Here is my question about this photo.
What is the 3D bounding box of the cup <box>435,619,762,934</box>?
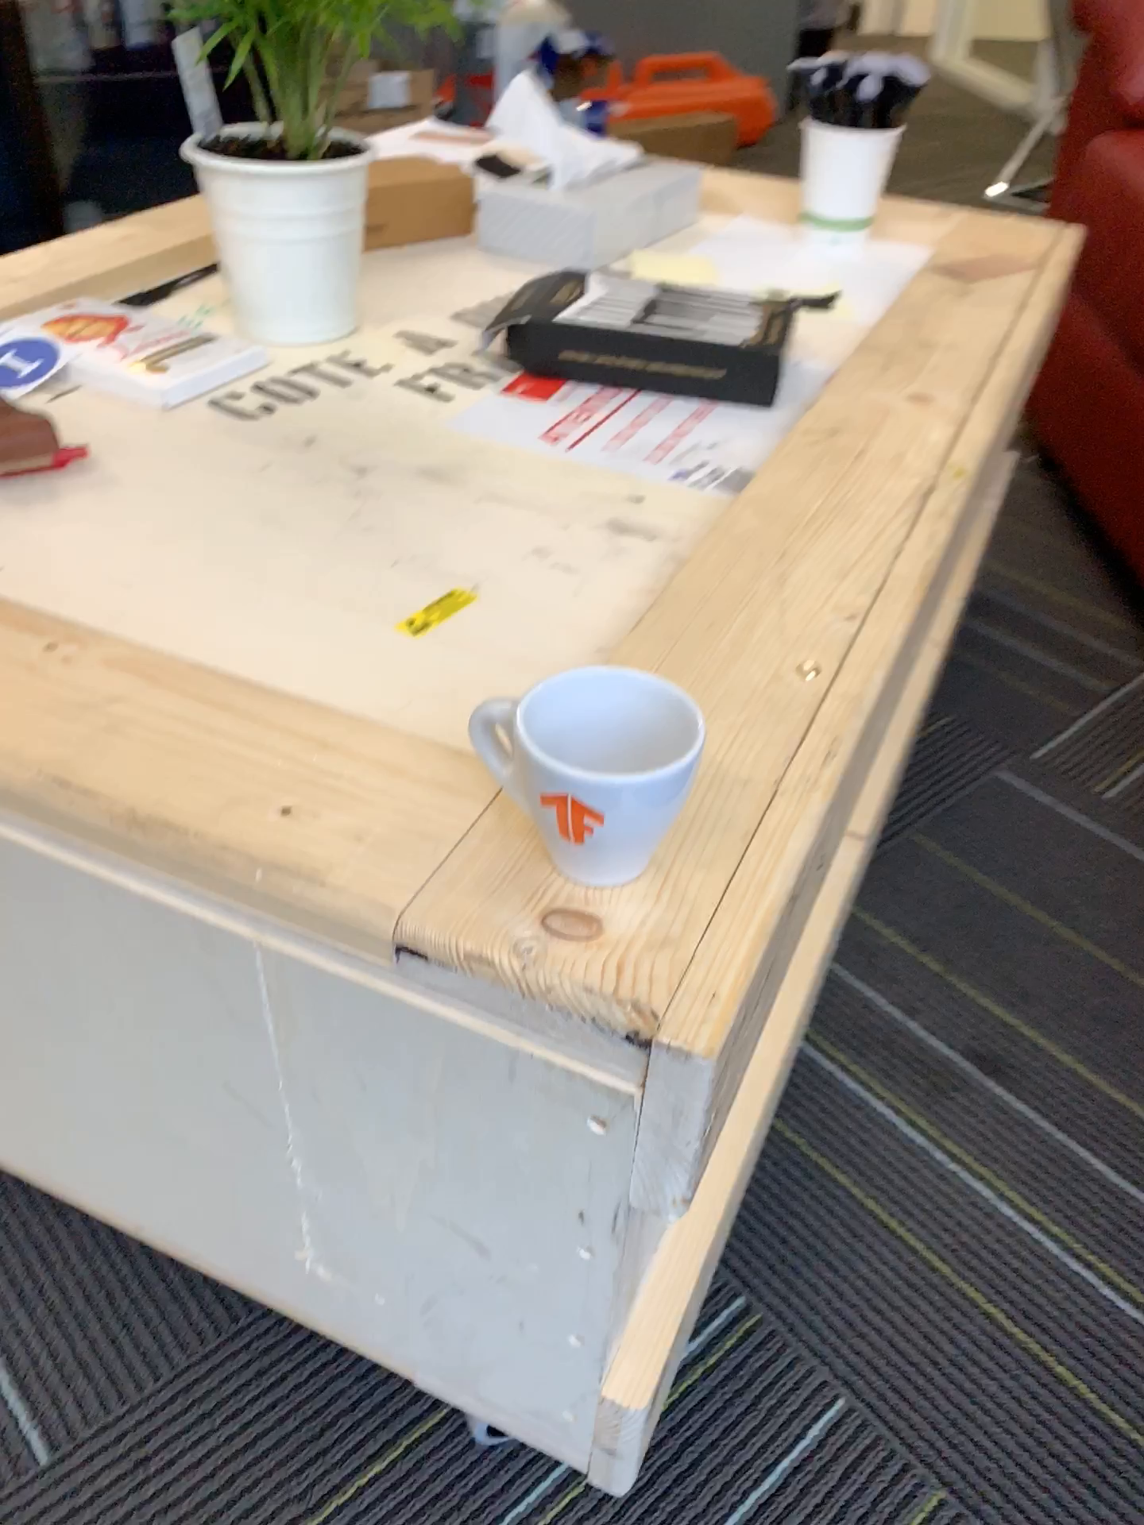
[{"bbox_3d":[0.008,0.002,0.404,0.090,0.060,0.060,19,41,19],"label":"cup"}]
